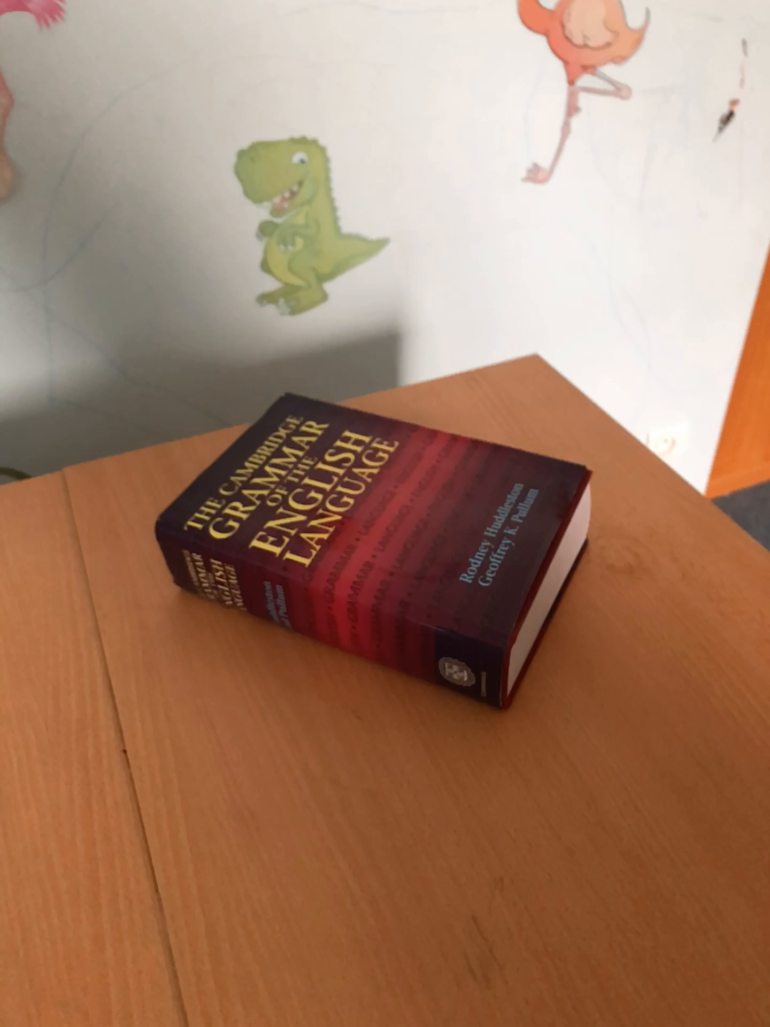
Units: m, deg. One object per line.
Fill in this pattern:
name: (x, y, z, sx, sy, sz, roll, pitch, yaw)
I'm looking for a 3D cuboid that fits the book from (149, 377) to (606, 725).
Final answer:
book: (0.001, 0.010, 0.619, 0.260, 0.070, 0.196, 18, 45, 20)
